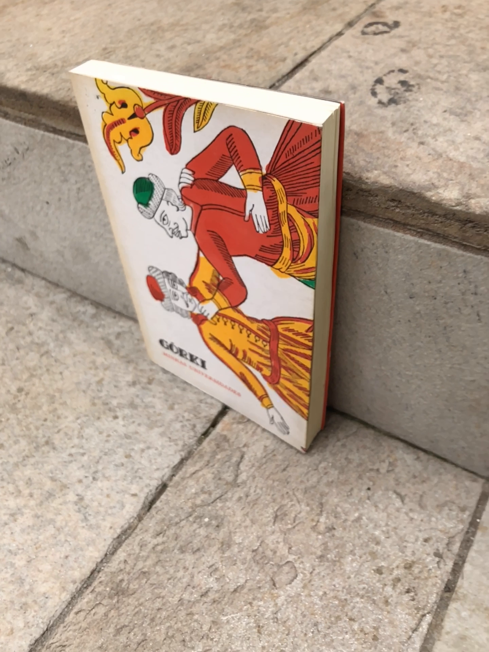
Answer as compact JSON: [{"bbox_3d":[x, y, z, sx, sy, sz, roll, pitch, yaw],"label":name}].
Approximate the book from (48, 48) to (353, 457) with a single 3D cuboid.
[{"bbox_3d":[-0.020,-0.031,0.289,0.142,0.189,0.030,26,51,29],"label":"book"}]
